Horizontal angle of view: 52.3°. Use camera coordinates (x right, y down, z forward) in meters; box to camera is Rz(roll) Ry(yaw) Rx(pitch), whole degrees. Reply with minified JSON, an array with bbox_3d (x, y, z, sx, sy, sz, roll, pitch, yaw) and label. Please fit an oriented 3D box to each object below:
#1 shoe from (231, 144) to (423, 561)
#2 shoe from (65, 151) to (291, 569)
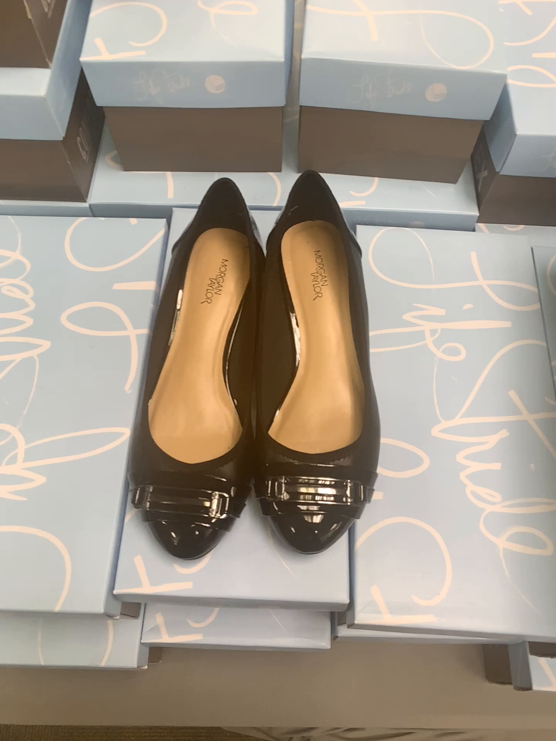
[{"bbox_3d":[0.027,-0.016,0.365,0.090,0.096,0.251,2,65,1],"label":"shoe"},{"bbox_3d":[-0.046,-0.011,0.363,0.090,0.096,0.245,4,65,2],"label":"shoe"}]
